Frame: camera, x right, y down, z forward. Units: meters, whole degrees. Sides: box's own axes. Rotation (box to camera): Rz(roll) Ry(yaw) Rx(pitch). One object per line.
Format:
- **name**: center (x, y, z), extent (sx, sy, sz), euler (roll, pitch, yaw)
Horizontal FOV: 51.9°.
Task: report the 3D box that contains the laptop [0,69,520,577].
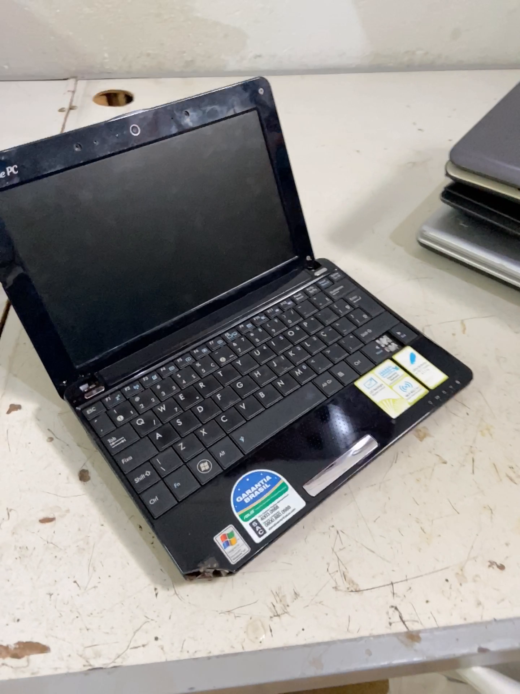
- **laptop**: center (-0.021, -0.050, 0.378), extent (0.259, 0.131, 0.265), euler (-30, 57, -26)
